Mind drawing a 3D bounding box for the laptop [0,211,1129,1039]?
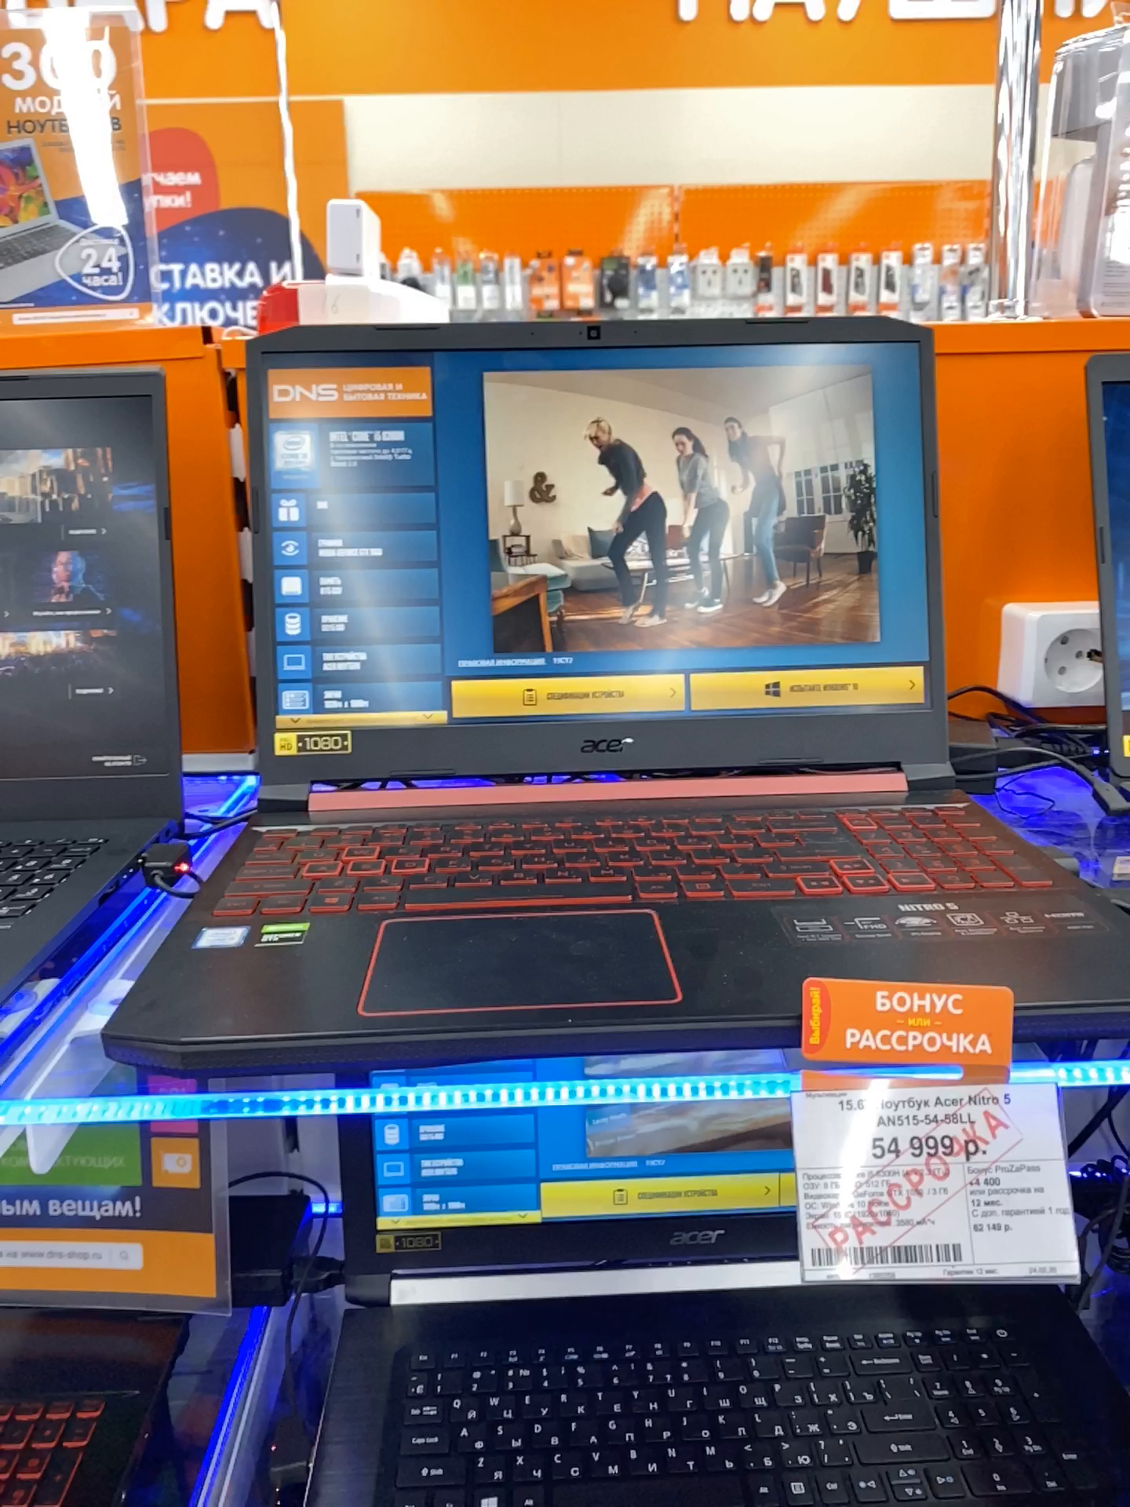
[{"bbox_3d":[0.023,-0.068,0.490,0.360,0.237,0.303,-2,13,-3],"label":"laptop"}]
